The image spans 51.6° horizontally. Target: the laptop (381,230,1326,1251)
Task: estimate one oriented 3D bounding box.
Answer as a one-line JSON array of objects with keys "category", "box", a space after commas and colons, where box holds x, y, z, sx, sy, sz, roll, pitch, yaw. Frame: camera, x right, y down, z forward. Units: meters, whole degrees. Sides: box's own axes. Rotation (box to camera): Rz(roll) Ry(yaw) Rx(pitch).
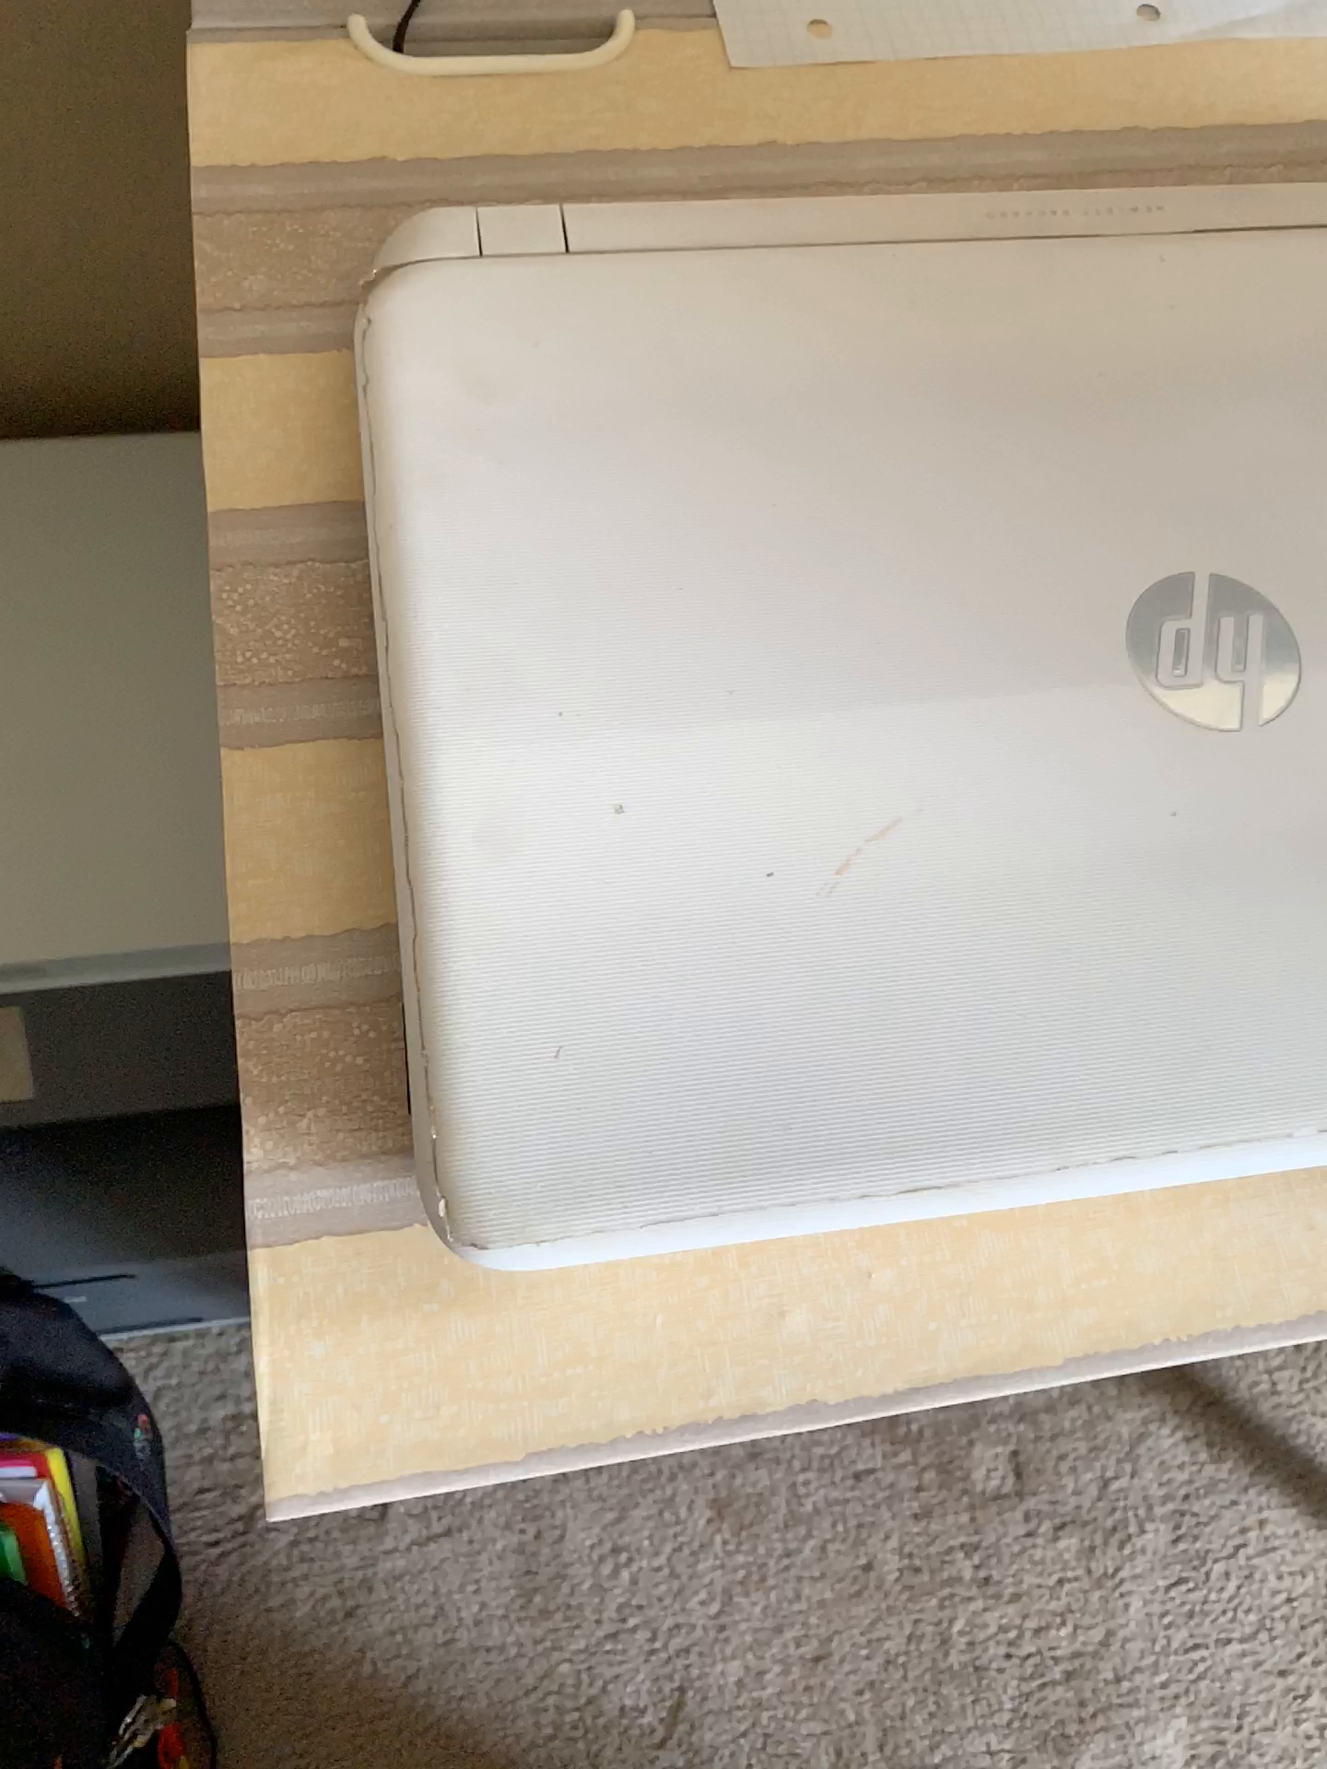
[{"category": "laptop", "box": [0.124, -0.055, 0.320, 0.363, 0.002, 0.229, -6, 70, -7]}]
